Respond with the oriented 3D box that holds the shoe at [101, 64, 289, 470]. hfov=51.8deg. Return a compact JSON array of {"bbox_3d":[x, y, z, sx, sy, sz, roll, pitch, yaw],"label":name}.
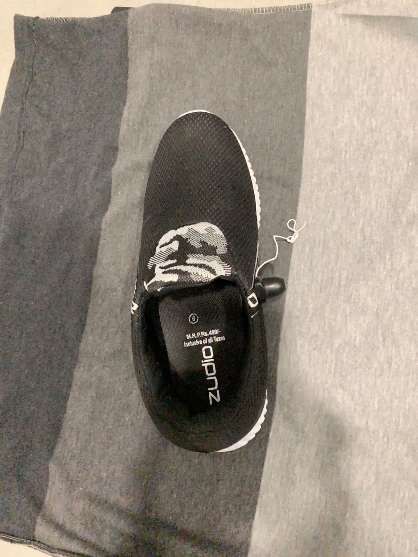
[{"bbox_3d":[-0.007,-0.005,0.307,0.100,0.100,0.240,-6,79,10],"label":"shoe"}]
